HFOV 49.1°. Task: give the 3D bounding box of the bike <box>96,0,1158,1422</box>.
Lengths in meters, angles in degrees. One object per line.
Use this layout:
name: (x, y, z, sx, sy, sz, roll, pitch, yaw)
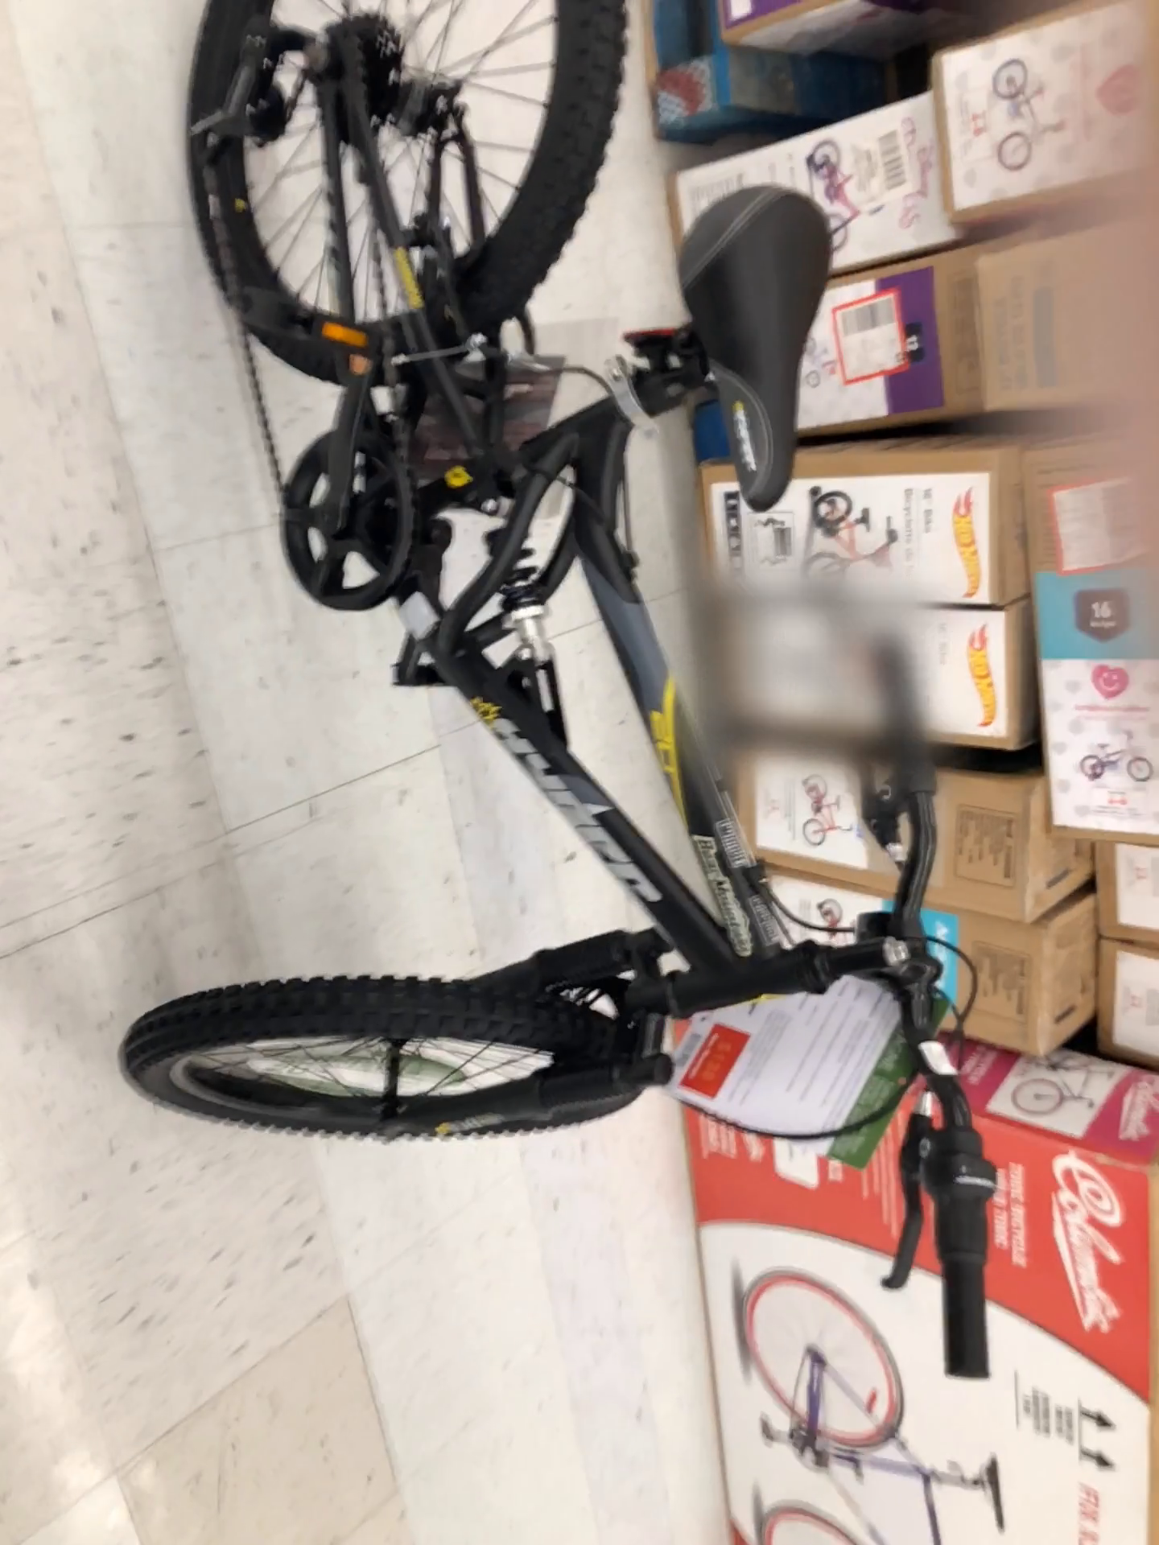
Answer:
bike: (0.166, -0.219, 1.195, 0.525, 0.849, 1.259, -19, 106, -44)
